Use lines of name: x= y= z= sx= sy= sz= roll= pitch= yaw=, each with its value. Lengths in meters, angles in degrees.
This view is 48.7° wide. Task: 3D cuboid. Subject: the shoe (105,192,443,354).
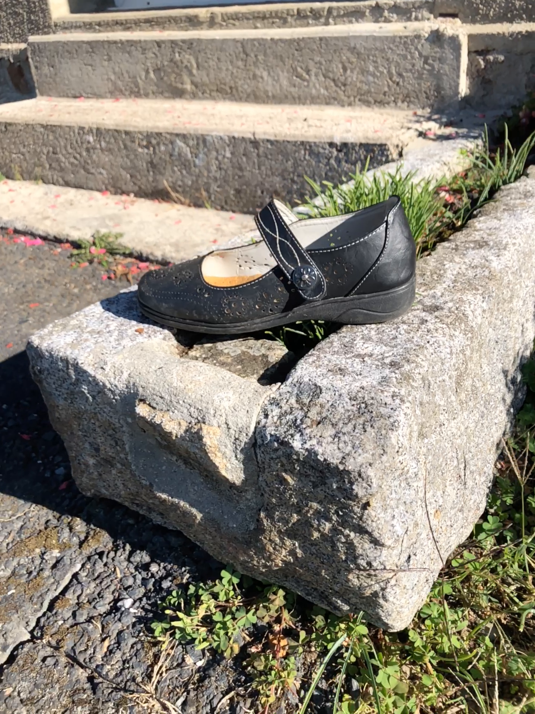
shoe: x=0.010 y=-0.075 z=0.500 sx=0.250 sy=0.099 sz=0.101 roll=2 pitch=30 yaw=9
